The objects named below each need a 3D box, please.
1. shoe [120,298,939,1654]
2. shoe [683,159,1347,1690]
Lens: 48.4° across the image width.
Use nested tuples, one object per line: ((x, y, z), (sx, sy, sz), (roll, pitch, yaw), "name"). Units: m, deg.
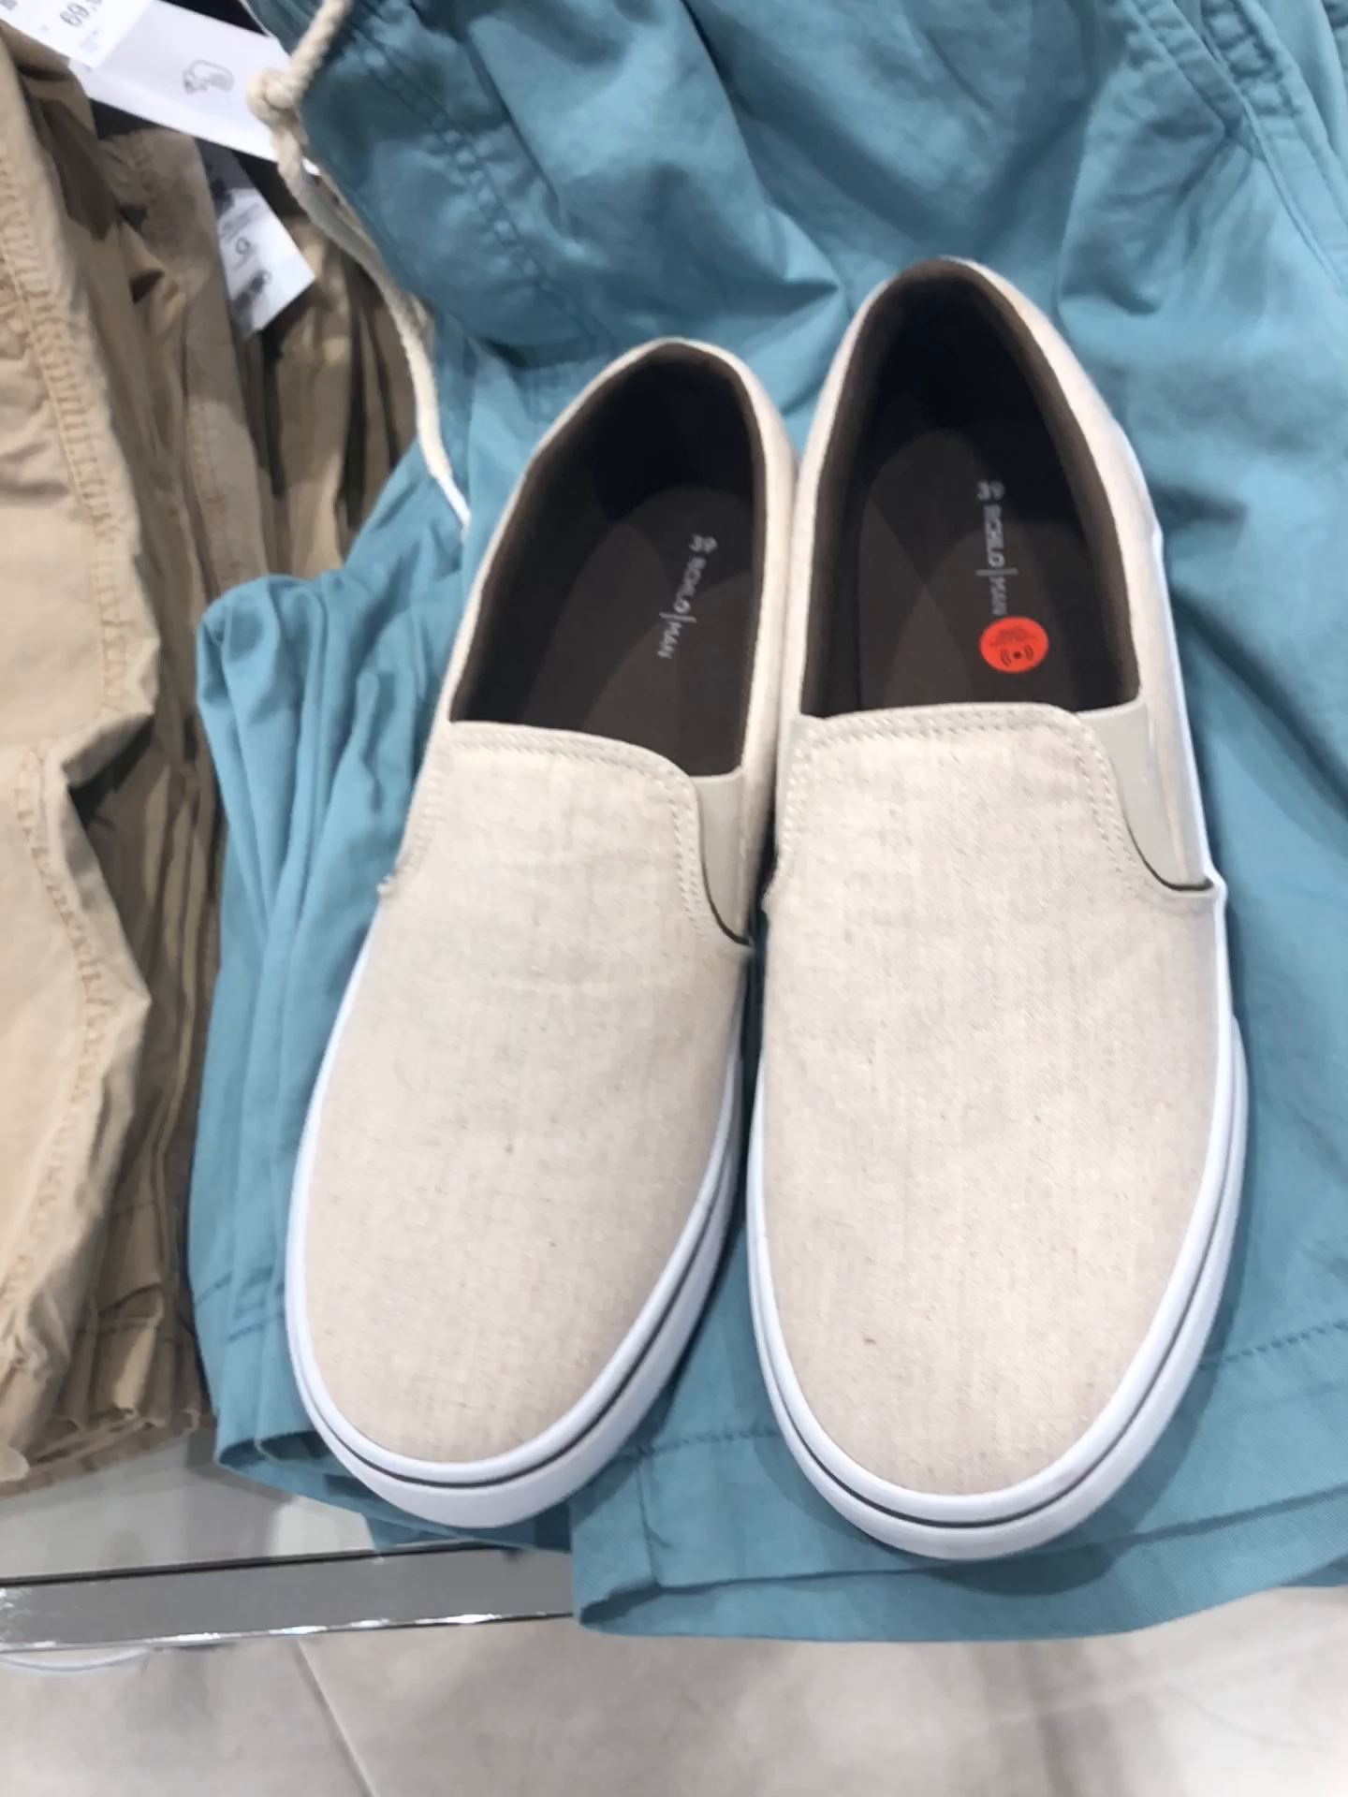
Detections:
((-0.016, 0.007, 0.333), (0.100, 0.090, 0.261), (6, 73, 19), "shoe")
((0.070, -0.001, 0.298), (0.100, 0.090, 0.261), (-2, 71, 16), "shoe")
